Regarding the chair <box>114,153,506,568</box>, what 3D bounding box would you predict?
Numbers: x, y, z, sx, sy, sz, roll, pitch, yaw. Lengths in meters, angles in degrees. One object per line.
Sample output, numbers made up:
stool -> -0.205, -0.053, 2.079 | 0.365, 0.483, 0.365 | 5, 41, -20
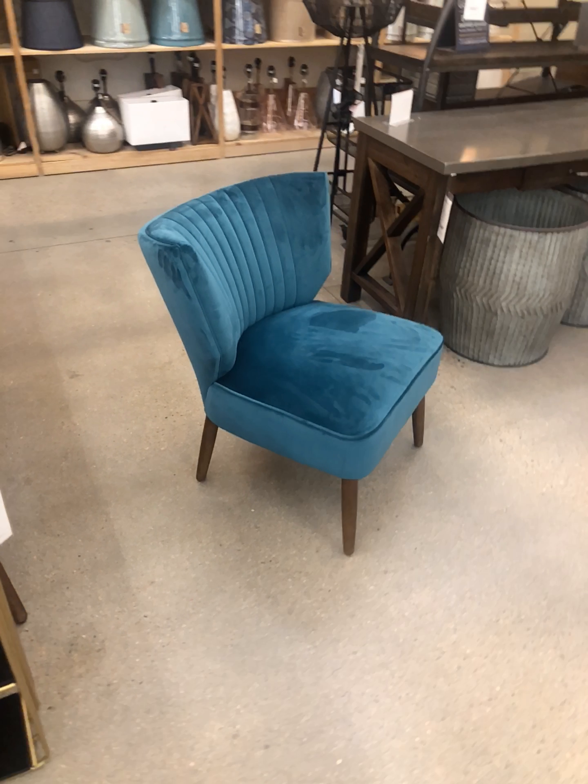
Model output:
chair -> 0.060, -0.133, 1.656 | 0.660, 0.676, 0.663 | 19, 39, 22
